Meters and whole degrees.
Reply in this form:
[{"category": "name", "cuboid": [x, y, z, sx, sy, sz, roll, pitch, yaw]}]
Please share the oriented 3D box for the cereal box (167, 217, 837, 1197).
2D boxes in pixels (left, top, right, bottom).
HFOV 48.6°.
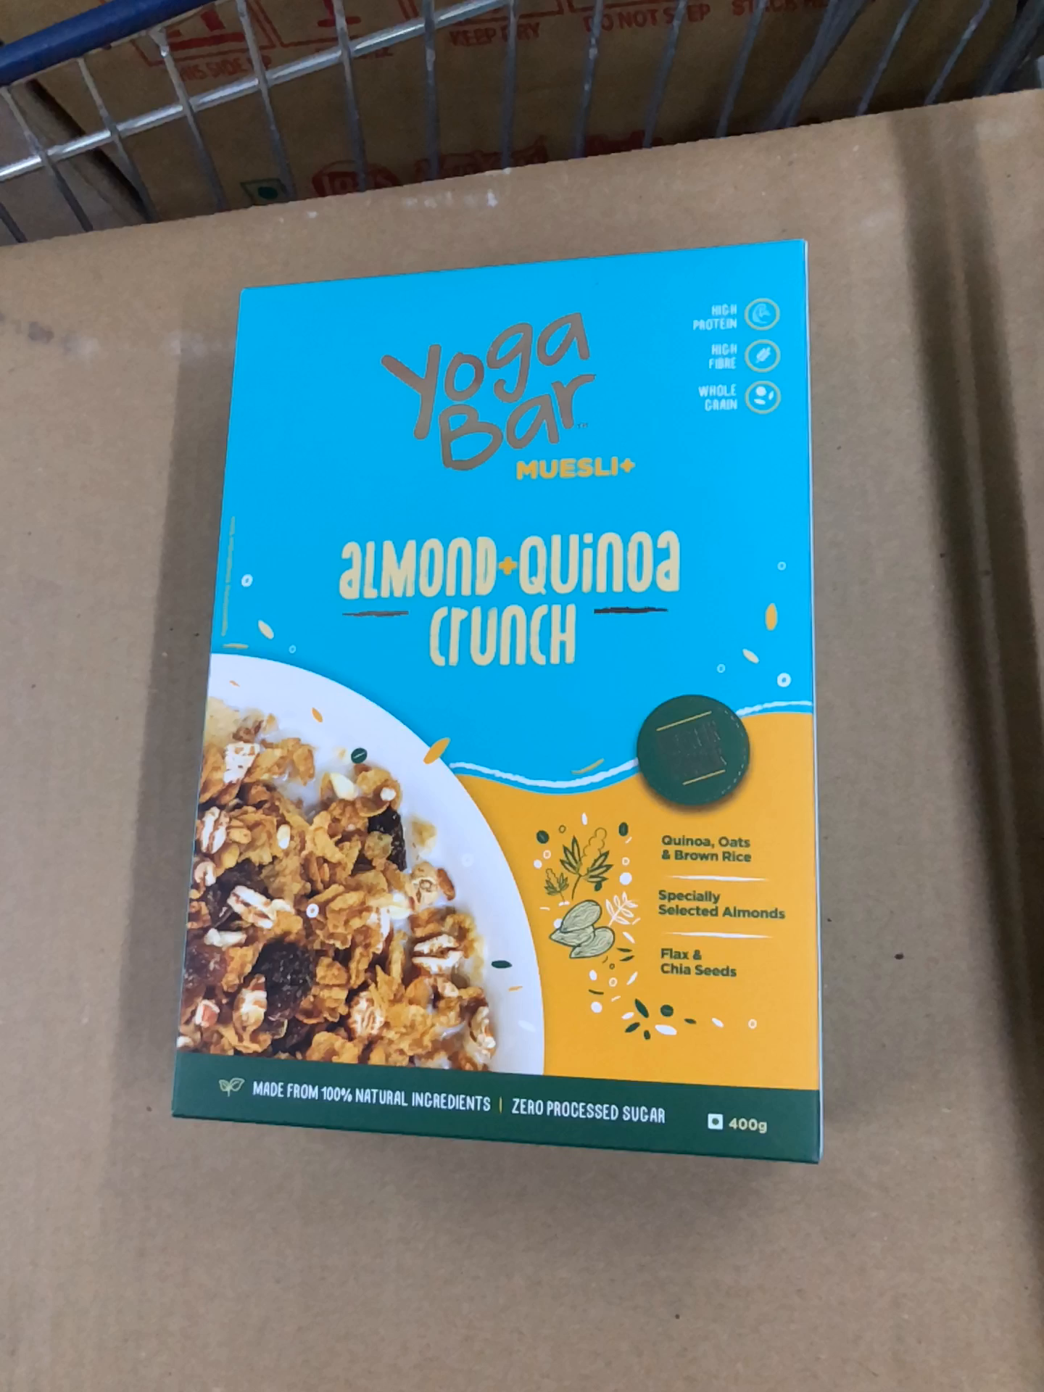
[{"category": "cereal box", "cuboid": [-0.001, 0.000, 0.326, 0.160, 0.070, 0.240, 0, 80, 9]}]
